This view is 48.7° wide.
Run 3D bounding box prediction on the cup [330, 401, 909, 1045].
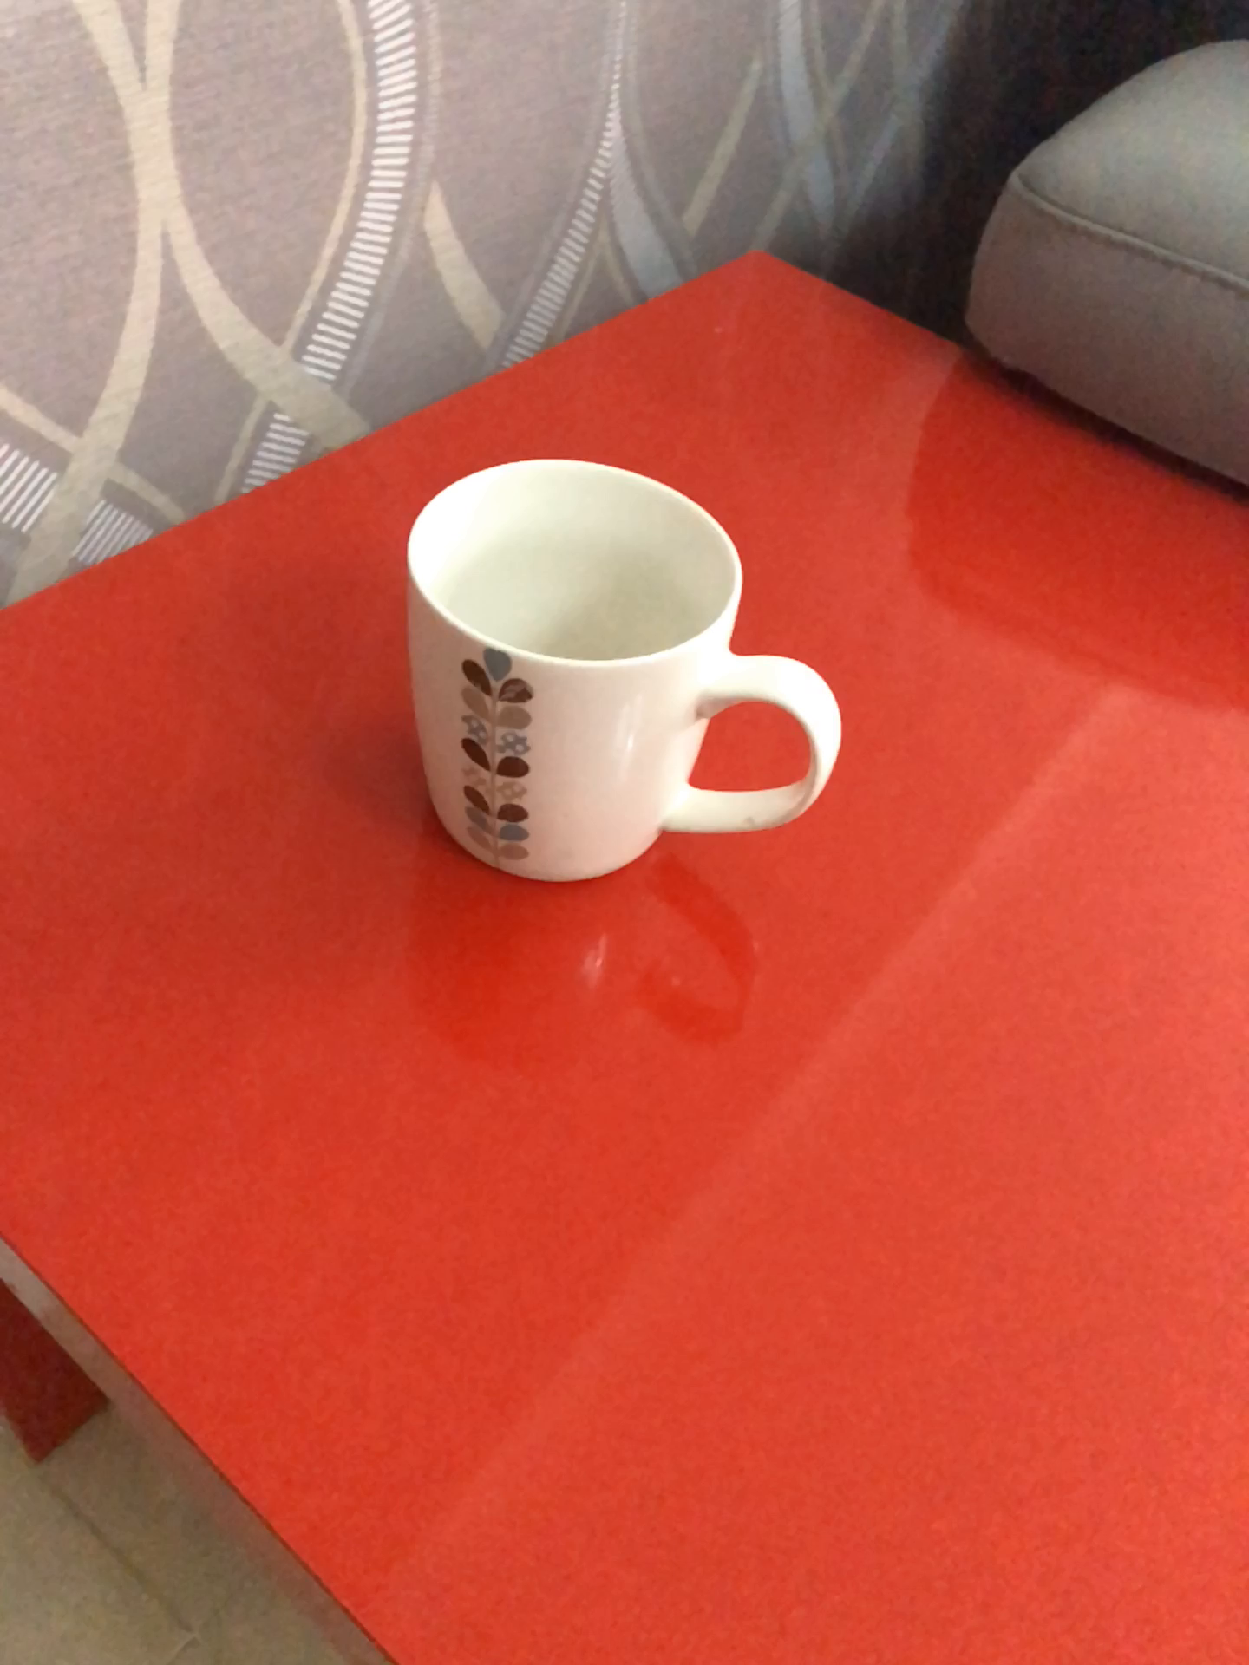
[{"bbox_3d":[-0.004,-0.031,0.392,0.120,0.119,0.091,22,48,13],"label":"cup"}]
